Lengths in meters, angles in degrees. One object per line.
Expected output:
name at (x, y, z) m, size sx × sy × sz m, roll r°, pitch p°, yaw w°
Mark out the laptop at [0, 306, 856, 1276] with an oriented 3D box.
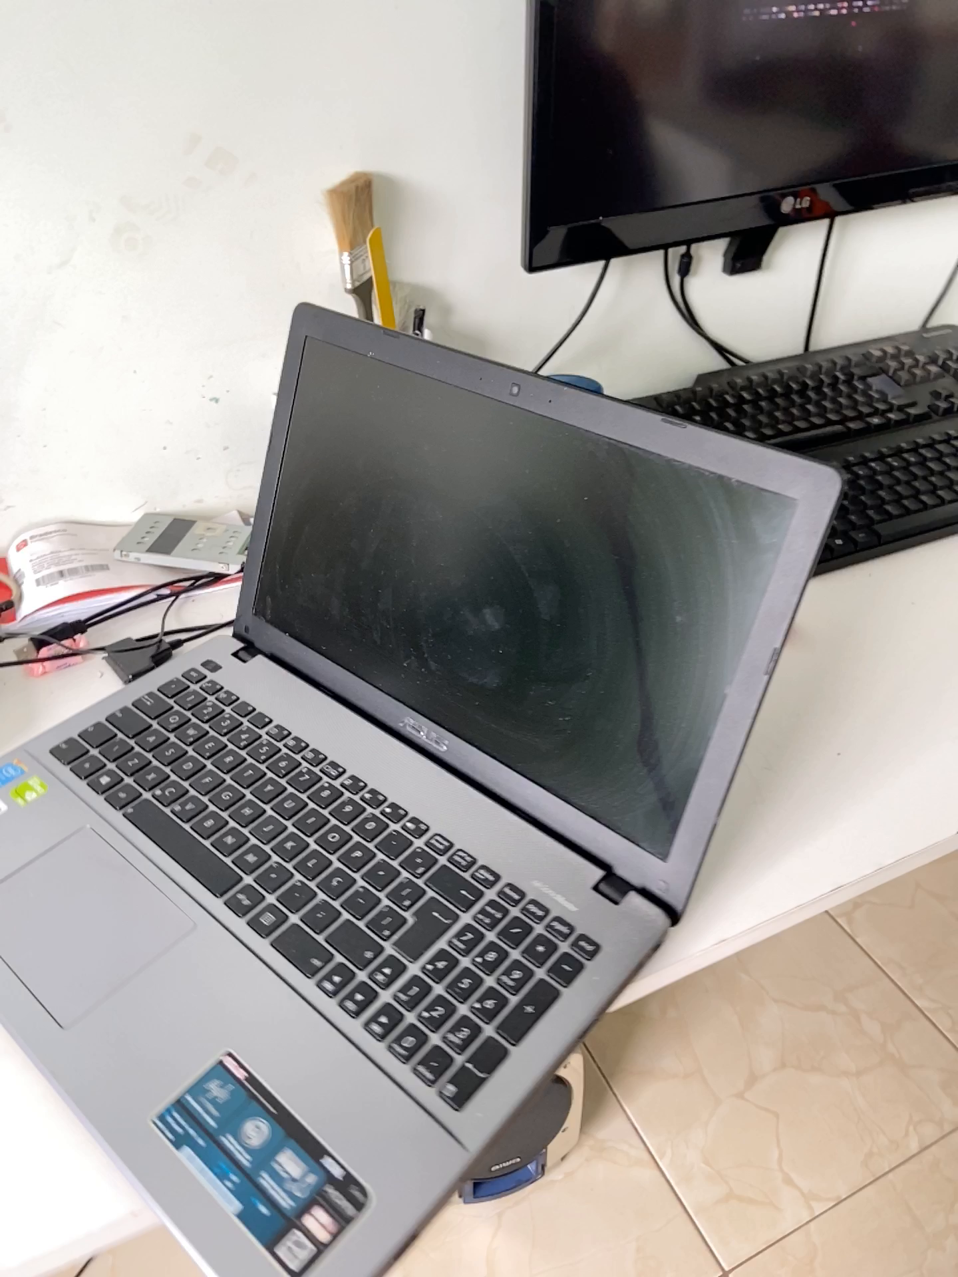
laptop at (-0.089, 0.021, 0.498) m, size 0.376 × 0.213 × 0.357 m, roll 27°, pitch 45°, yaw 33°
